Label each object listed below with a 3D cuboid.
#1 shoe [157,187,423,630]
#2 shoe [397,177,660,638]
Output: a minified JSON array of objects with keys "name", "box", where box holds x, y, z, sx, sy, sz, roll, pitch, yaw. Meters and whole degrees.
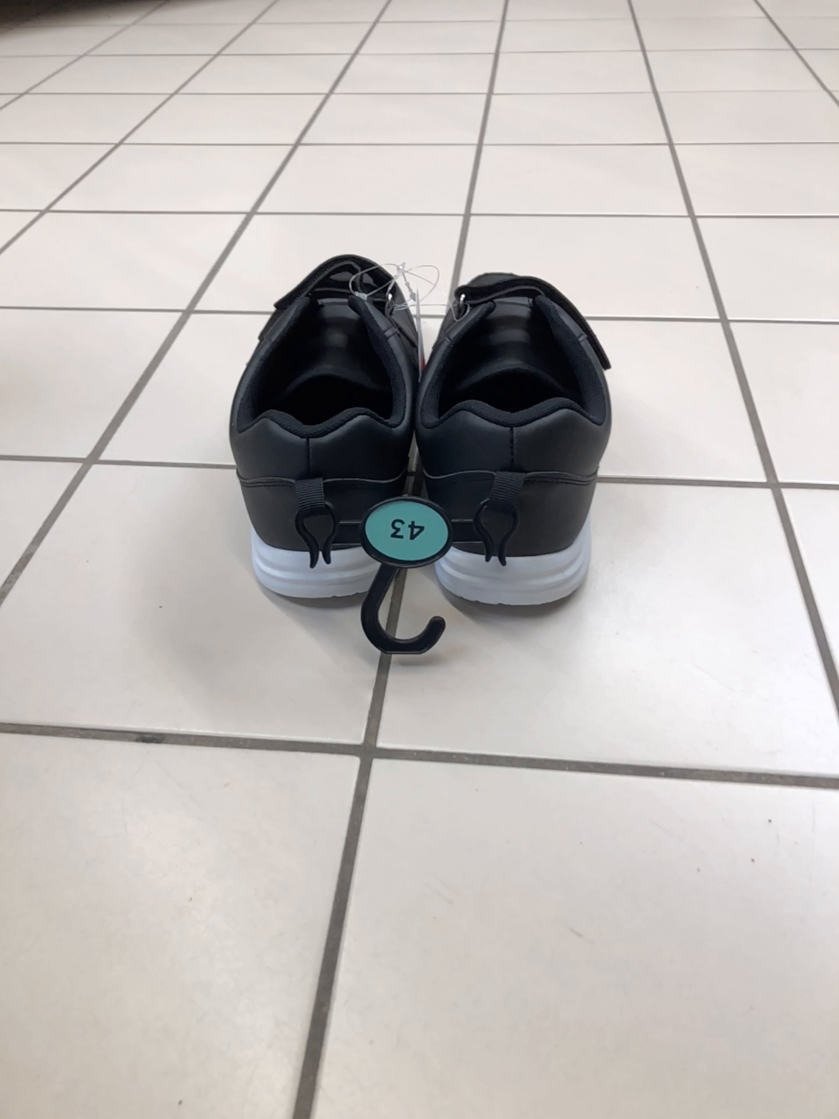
[{"name":"shoe","box":[-0.052,-0.106,0.526,0.100,0.099,0.312,-1,40,2]},{"name":"shoe","box":[0.051,-0.104,0.503,0.100,0.099,0.312,0,40,3]}]
